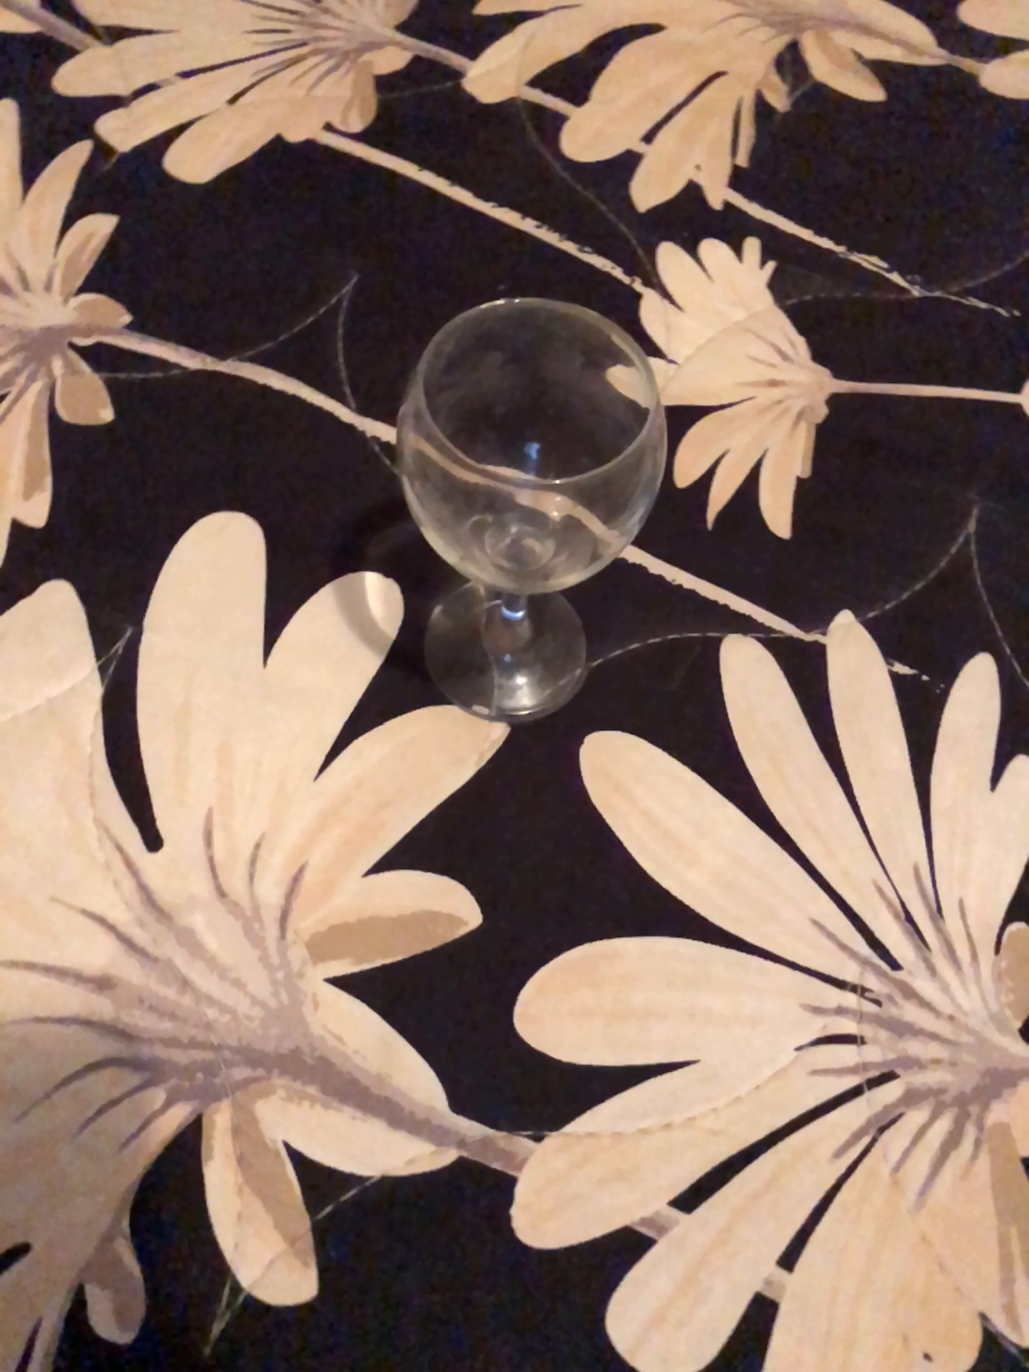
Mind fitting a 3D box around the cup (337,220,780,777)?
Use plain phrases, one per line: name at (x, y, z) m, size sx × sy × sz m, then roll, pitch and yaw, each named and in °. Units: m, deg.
cup at (0.007, -0.051, 0.362) m, size 0.084 × 0.139 × 0.082 m, roll 2°, pitch 64°, yaw -4°
